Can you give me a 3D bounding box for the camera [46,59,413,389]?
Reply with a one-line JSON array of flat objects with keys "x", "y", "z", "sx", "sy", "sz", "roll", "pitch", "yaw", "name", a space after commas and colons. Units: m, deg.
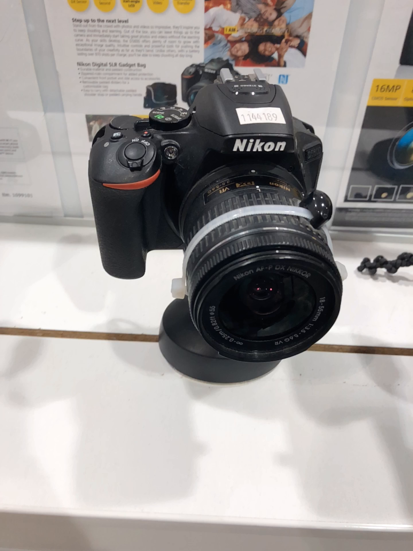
[{"x": 0.008, "y": -0.035, "z": 0.222, "sx": 0.130, "sy": 0.090, "sz": 0.140, "roll": -2, "pitch": 41, "yaw": -7, "name": "camera"}]
